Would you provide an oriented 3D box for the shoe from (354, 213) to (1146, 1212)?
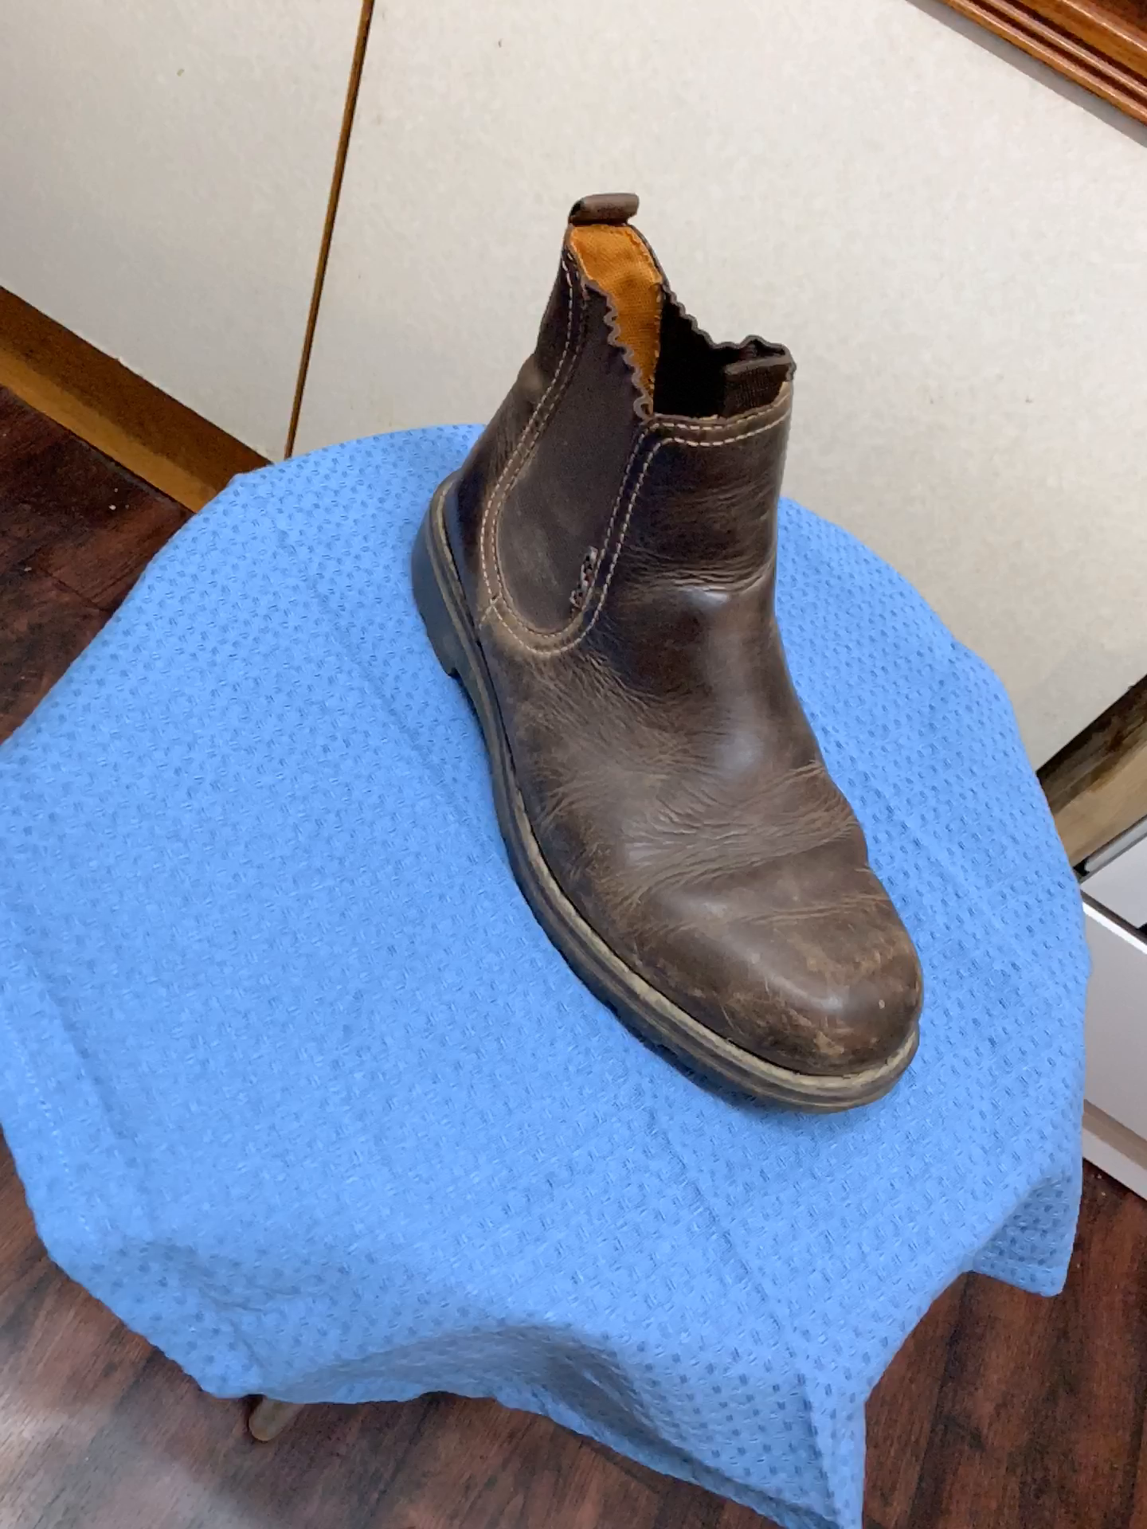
[{"bbox_3d":[0.042,-0.025,0.393,0.106,0.156,0.279,-14,63,-31],"label":"shoe"}]
